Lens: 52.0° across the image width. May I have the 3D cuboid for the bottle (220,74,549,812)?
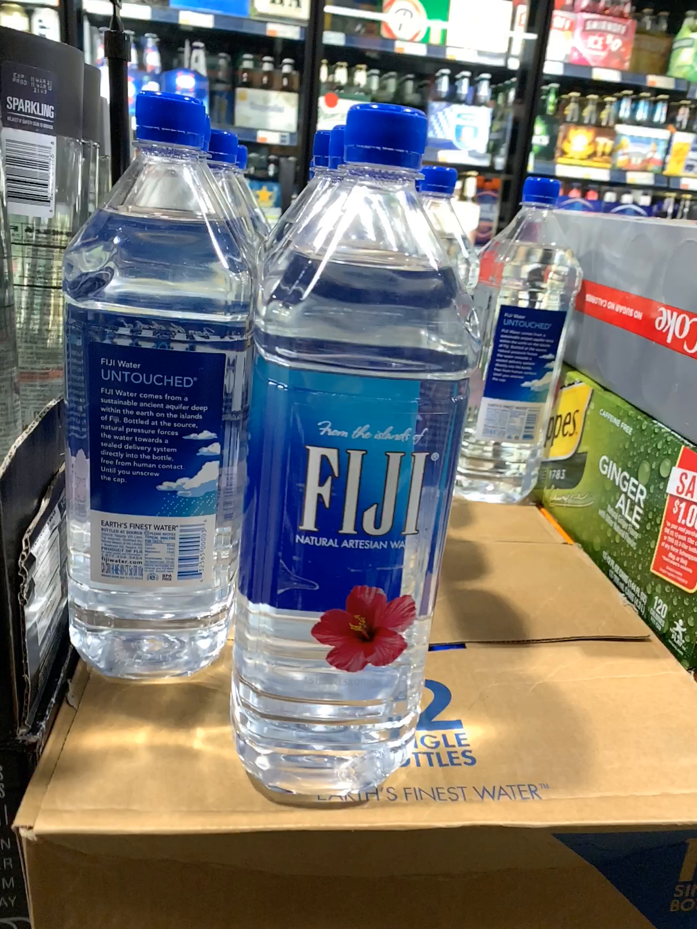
[{"bbox_3d":[0.001,0.004,0.298,0.090,0.279,0.080,4,21,-4],"label":"bottle"}]
